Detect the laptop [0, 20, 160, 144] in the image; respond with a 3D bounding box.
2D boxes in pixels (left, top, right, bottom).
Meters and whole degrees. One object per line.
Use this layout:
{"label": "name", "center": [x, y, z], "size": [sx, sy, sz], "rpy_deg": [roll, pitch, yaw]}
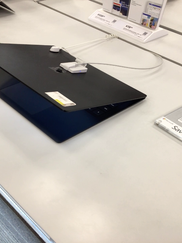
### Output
{"label": "laptop", "center": [-0.073, -0.106, 0.512], "size": [0.226, 0.085, 0.299], "rpy_deg": [-35, 57, -29]}
